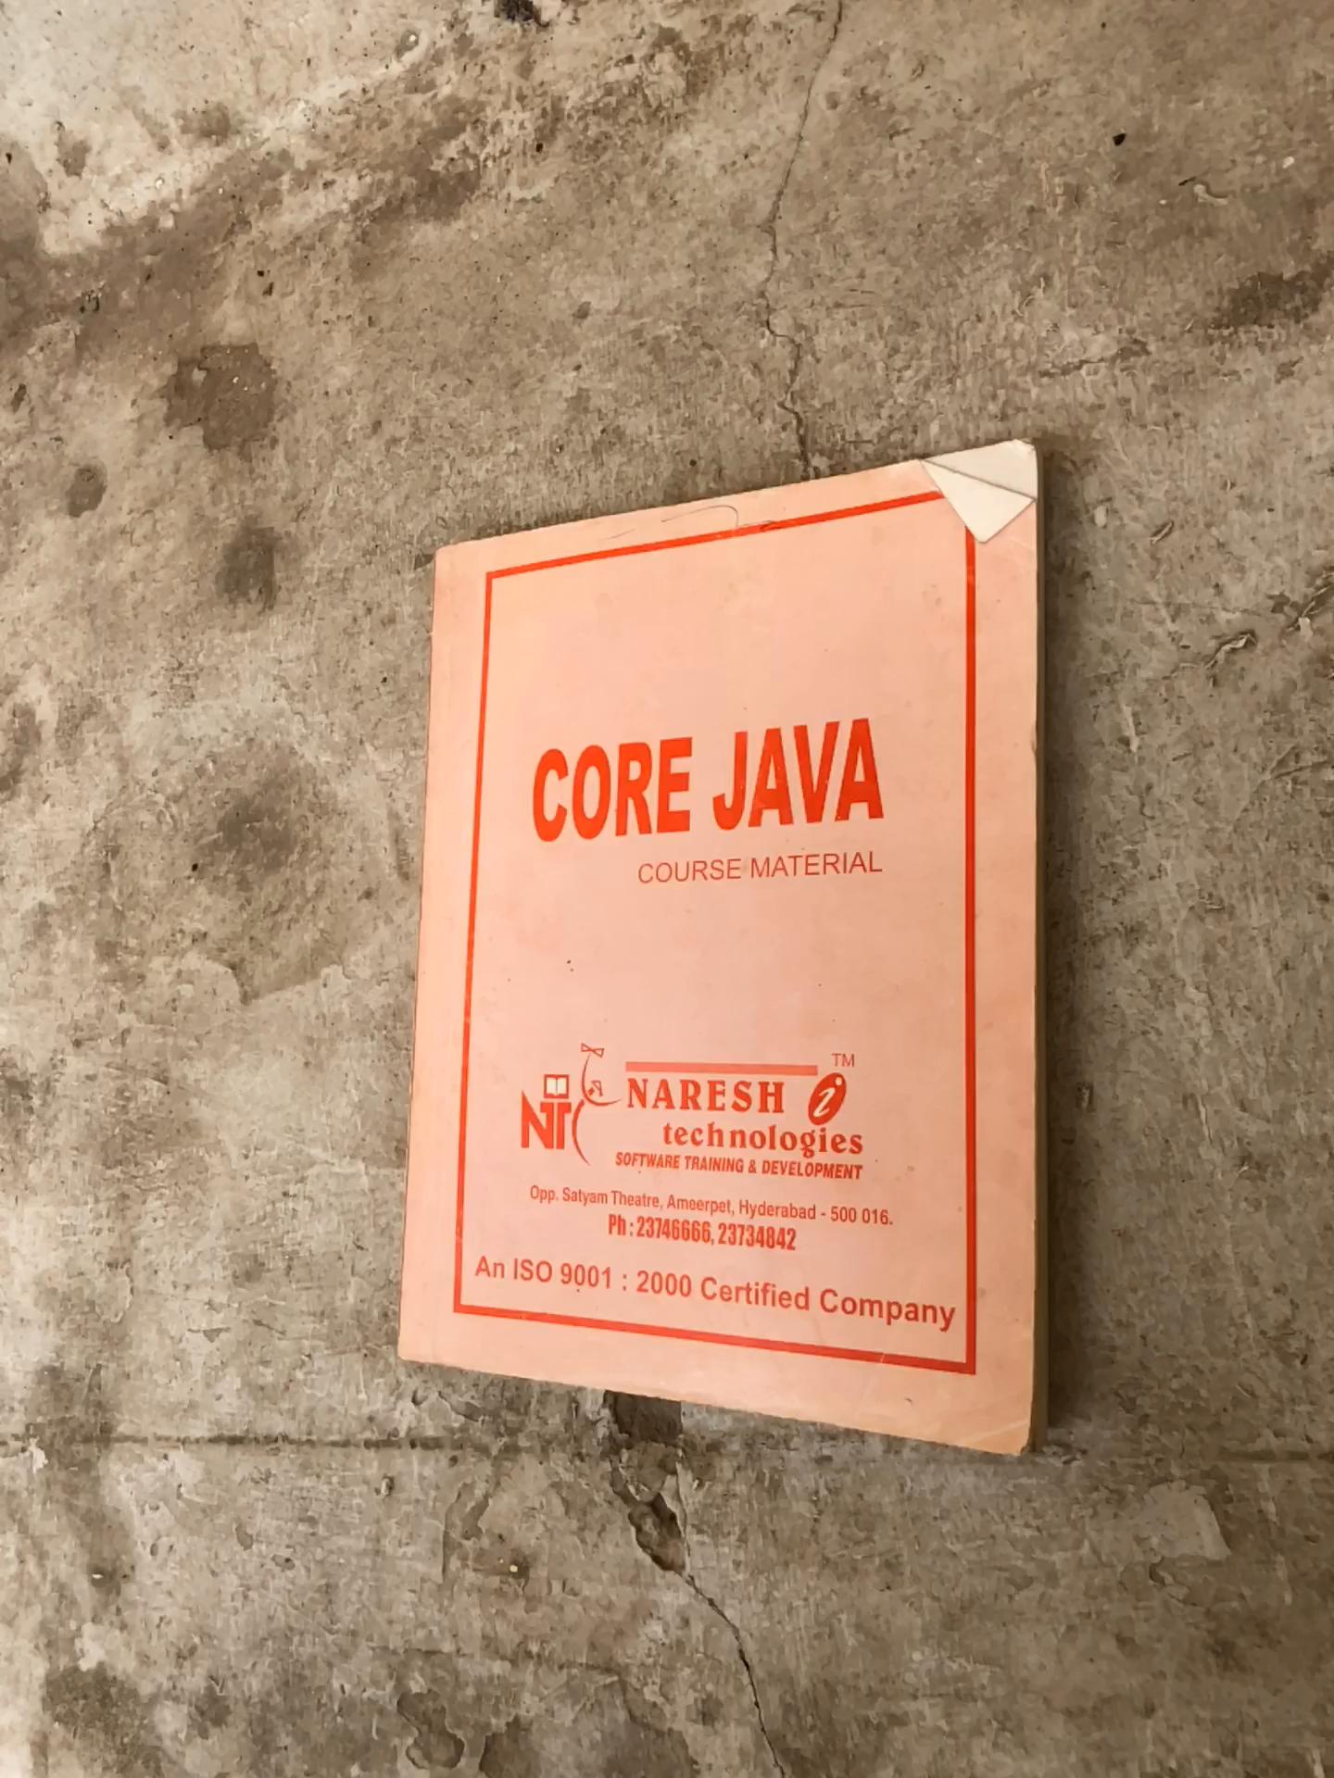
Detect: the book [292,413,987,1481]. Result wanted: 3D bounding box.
[{"bbox_3d":[-0.012,0.014,0.419,0.201,0.030,0.260,-3,80,29],"label":"book"}]
